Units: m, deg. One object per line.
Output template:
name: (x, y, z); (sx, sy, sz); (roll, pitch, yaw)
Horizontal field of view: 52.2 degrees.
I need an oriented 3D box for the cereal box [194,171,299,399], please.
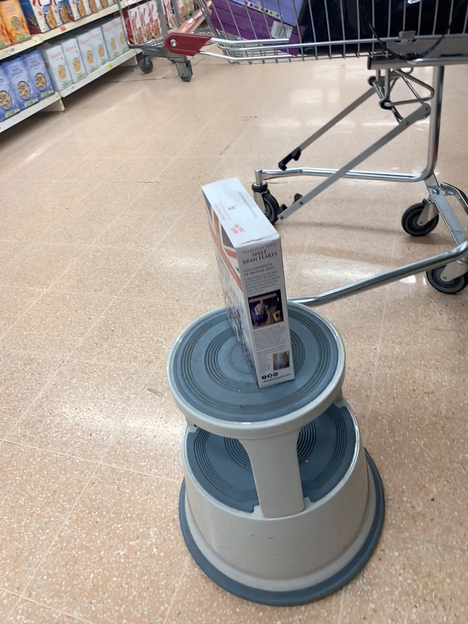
cereal box: (0.019, -0.040, 0.700); (0.070, 0.257, 0.202); (-16, 39, -6)
